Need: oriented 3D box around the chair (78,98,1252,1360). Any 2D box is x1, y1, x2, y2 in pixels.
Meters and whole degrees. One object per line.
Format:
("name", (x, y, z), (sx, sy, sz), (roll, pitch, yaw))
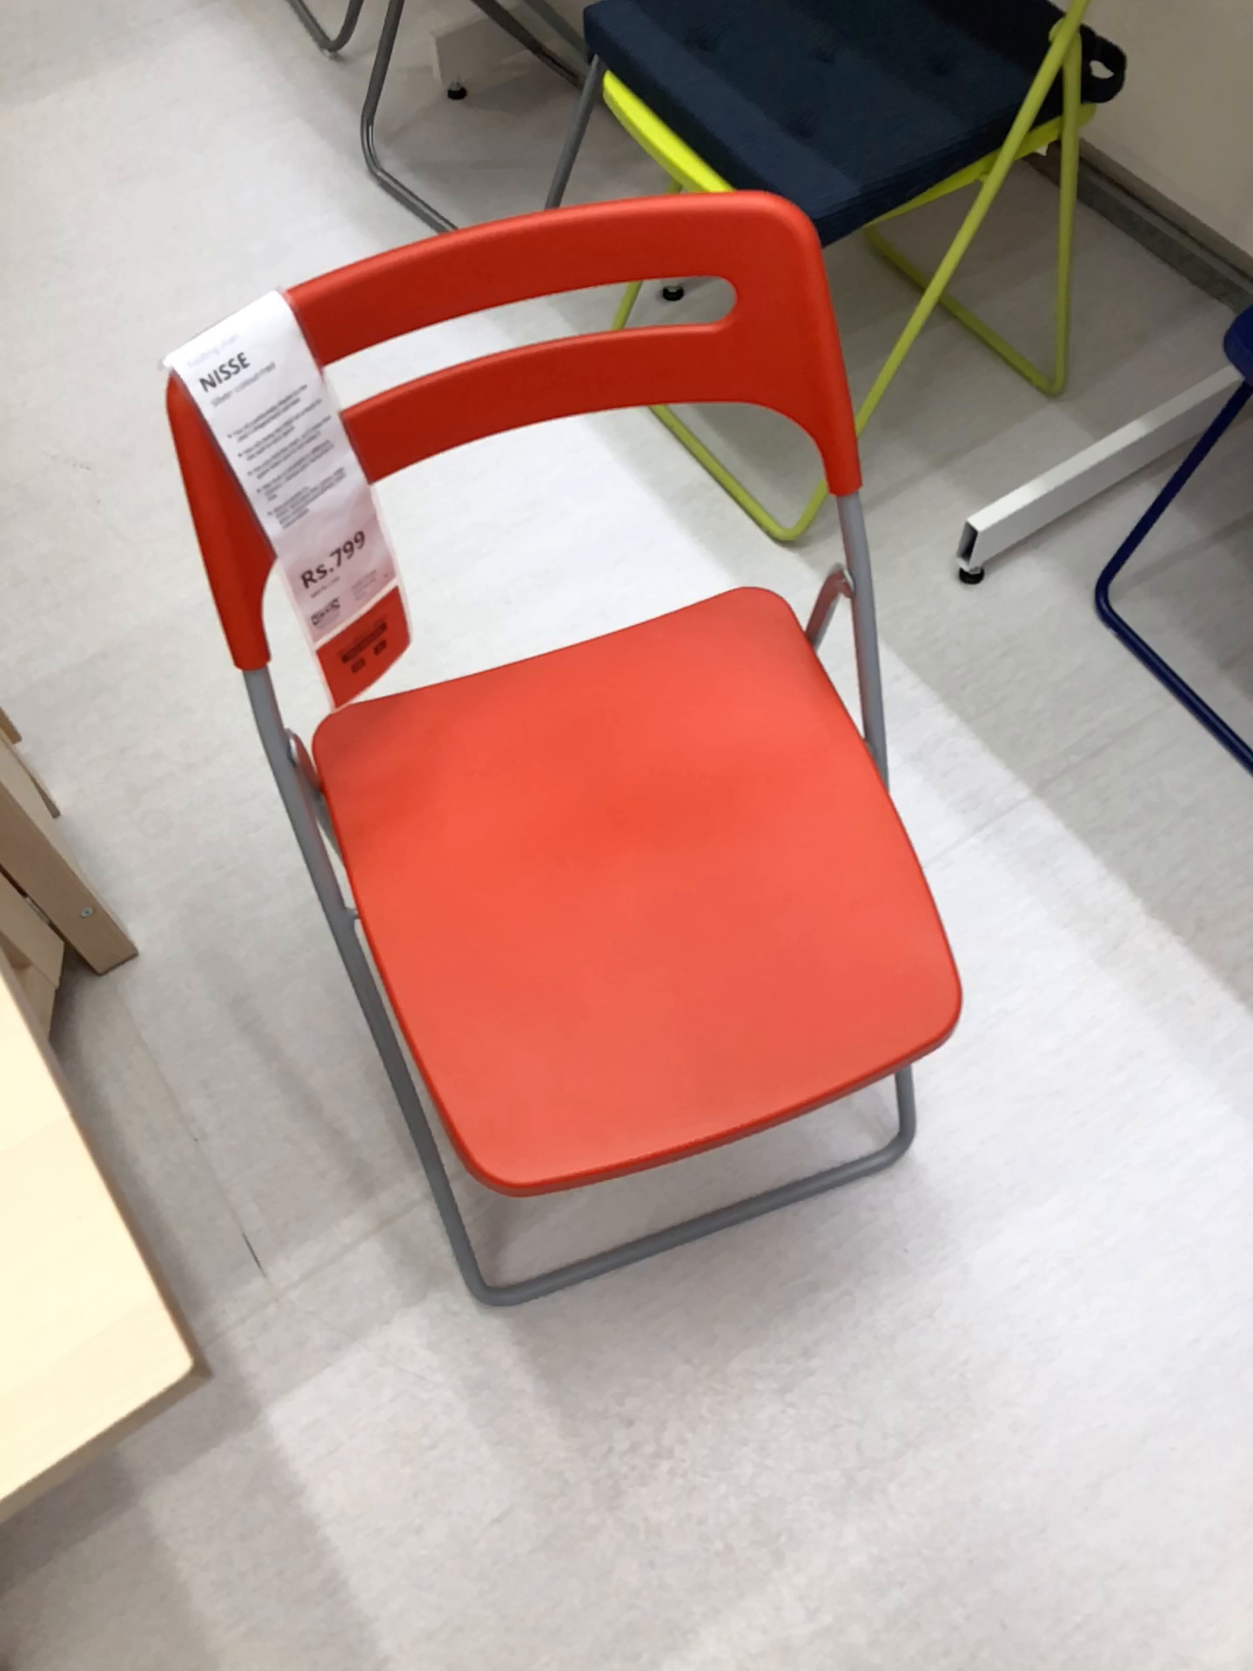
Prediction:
("chair", (0.004, -0.022, 0.930), (0.450, 0.607, 0.492), (-19, 61, -9))
